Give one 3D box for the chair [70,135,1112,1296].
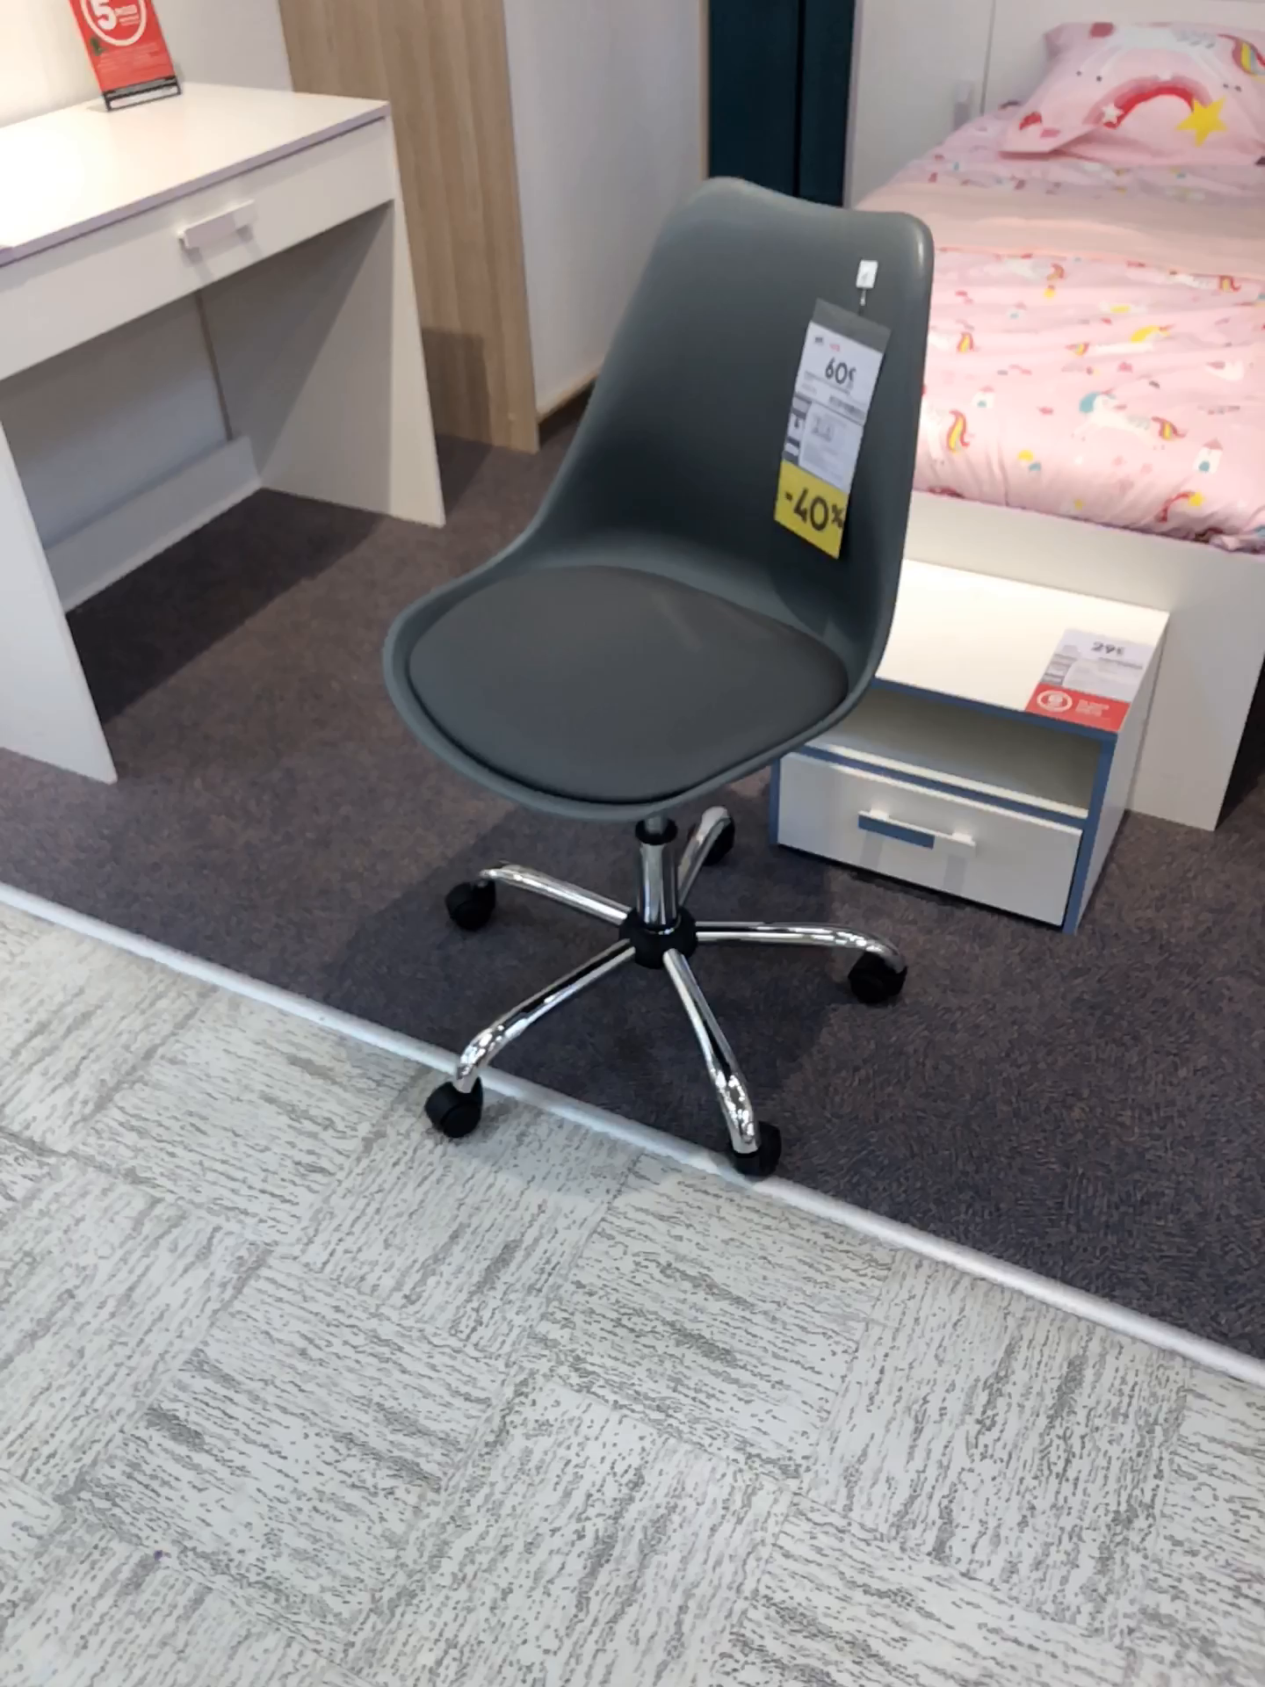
[{"bbox_3d":[-0.007,-0.162,1.419,0.600,0.835,0.634,26,47,31],"label":"chair"}]
